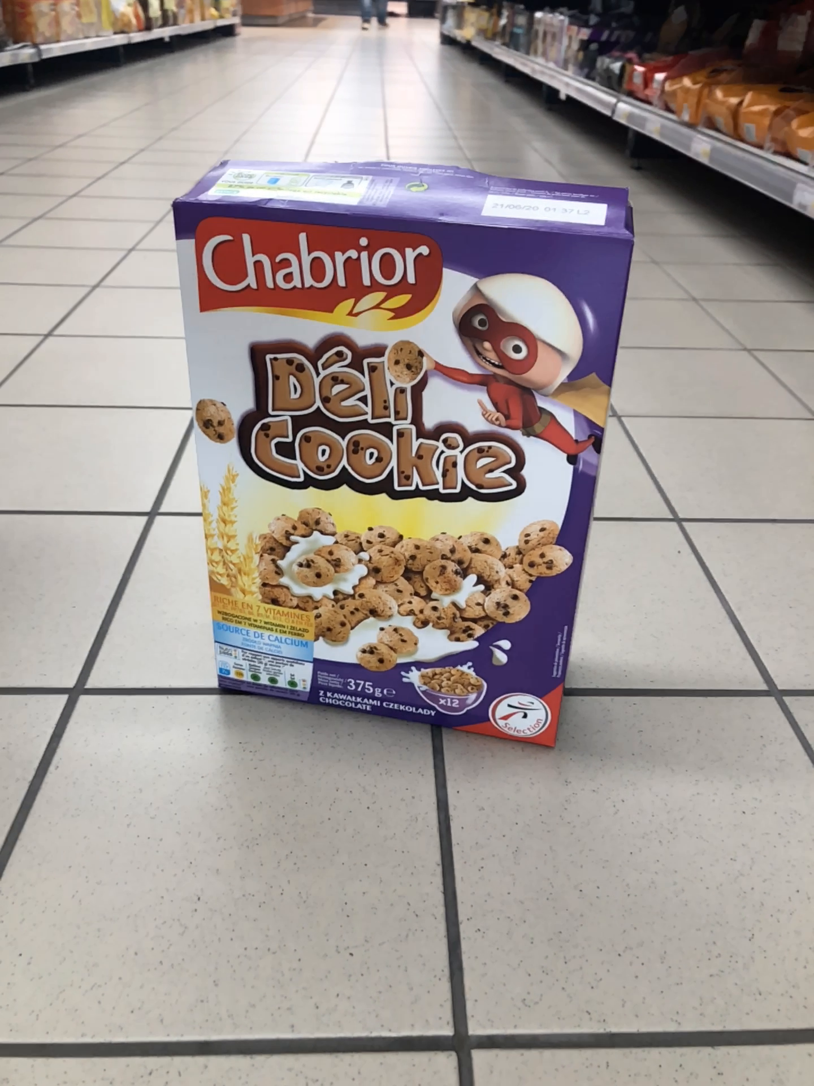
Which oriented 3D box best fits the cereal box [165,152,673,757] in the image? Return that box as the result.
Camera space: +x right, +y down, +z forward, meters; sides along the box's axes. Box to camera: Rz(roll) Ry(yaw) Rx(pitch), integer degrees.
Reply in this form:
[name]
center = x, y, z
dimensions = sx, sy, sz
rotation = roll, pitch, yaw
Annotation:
[cereal box]
center = 0.004, -0.038, 0.447
dimensions = 0.200, 0.268, 0.081
rotation = 8, 31, 10
